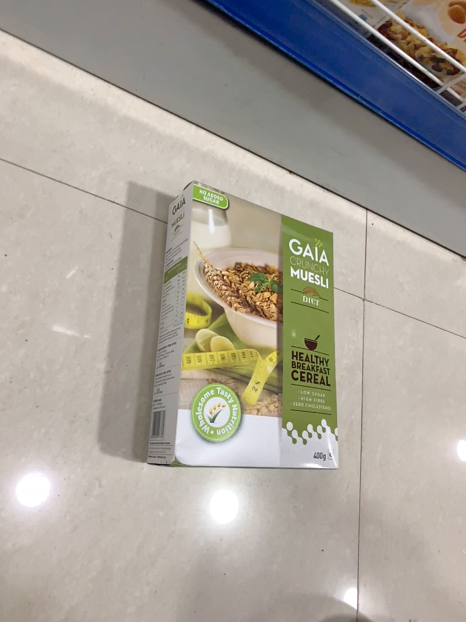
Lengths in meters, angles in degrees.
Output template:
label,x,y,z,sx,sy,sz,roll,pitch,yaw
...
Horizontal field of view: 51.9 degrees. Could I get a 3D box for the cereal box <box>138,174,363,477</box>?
label,x,y,z,sx,sy,sz,roll,pitch,yaw
cereal box,0.023,0.024,0.429,0.181,0.070,0.230,11,73,-31
